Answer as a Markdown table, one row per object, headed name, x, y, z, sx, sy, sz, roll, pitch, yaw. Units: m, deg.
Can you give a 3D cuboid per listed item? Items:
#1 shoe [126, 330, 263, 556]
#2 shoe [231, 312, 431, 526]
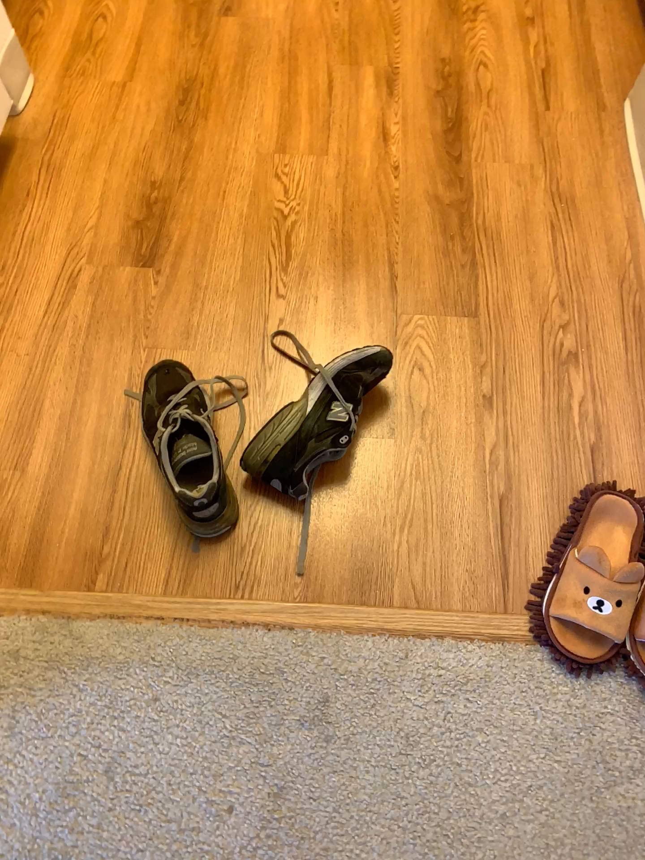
| name | x | y | z | sx | sy | sz | roll | pitch | yaw |
| --- | --- | --- | --- | --- | --- | --- | --- | --- | --- |
| shoe | -0.214 | 0.022 | 1.111 | 0.120 | 0.170 | 0.321 | -18 | 66 | -9 |
| shoe | 0.025 | -0.022 | 1.056 | 0.120 | 0.130 | 0.320 | 36 | 69 | 27 |
